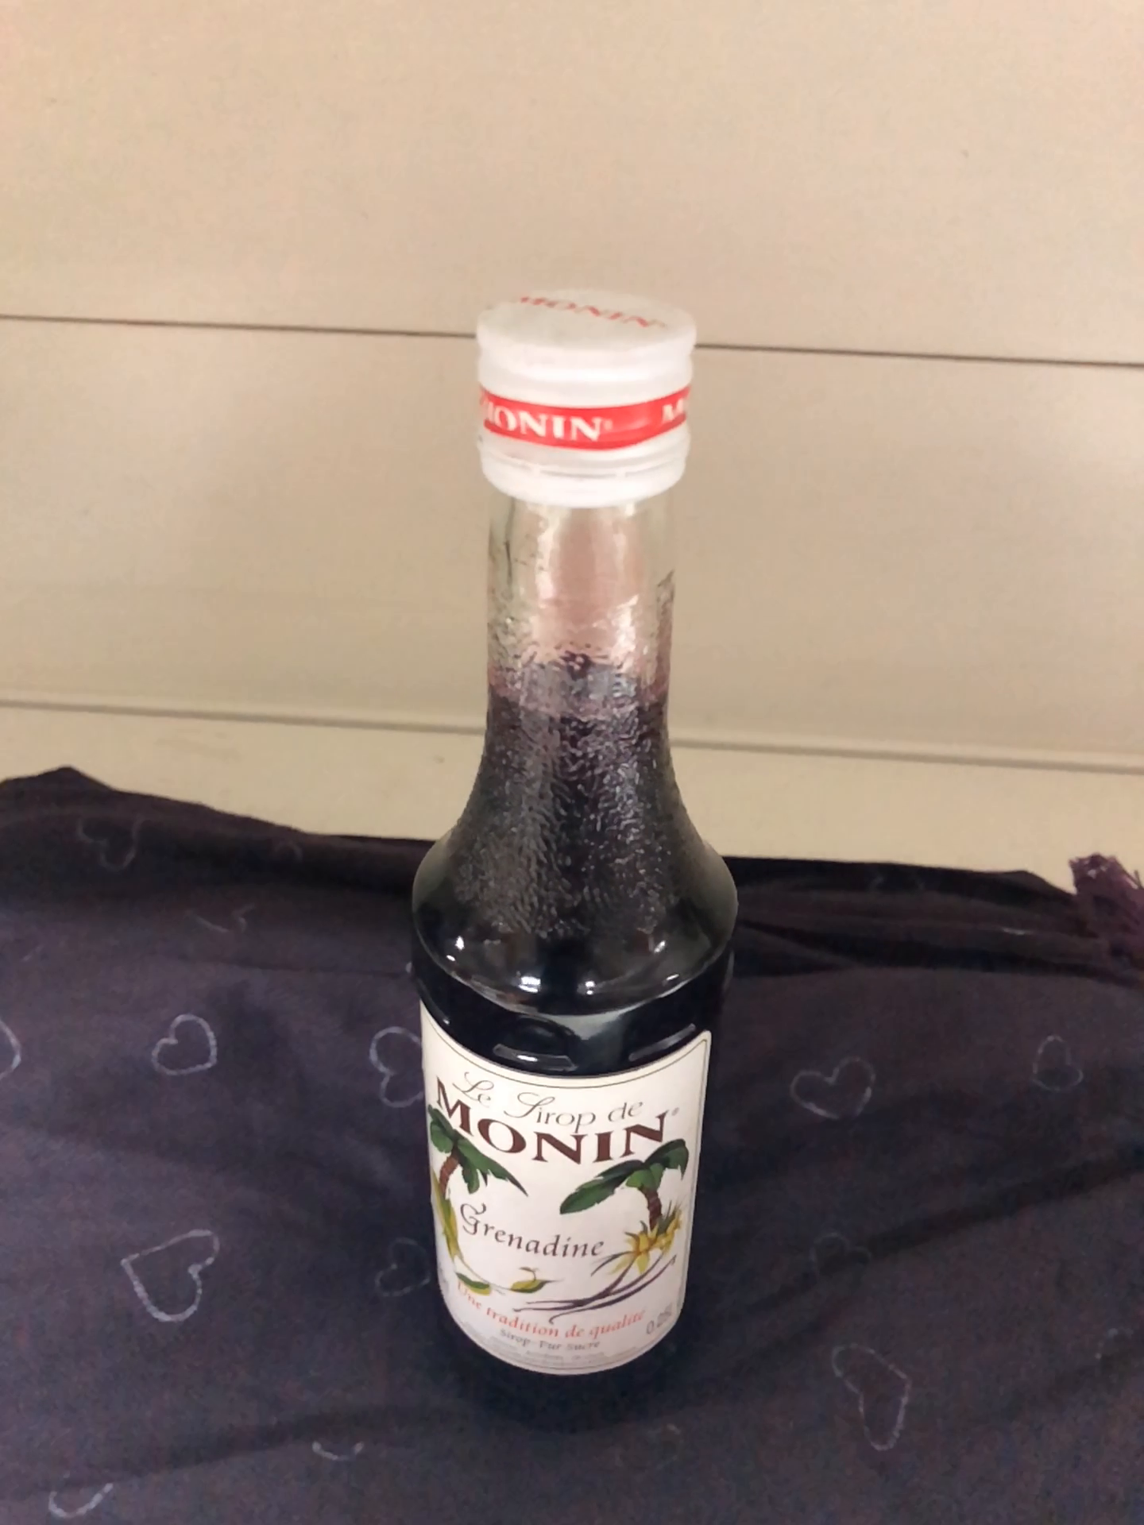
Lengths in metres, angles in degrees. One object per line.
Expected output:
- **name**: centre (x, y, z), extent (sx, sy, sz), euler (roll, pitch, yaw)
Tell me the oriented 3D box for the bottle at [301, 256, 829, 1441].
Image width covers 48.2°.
- **bottle**: centre (0.000, 0.025, 0.220), extent (0.060, 0.199, 0.060), euler (1, 30, -1)
